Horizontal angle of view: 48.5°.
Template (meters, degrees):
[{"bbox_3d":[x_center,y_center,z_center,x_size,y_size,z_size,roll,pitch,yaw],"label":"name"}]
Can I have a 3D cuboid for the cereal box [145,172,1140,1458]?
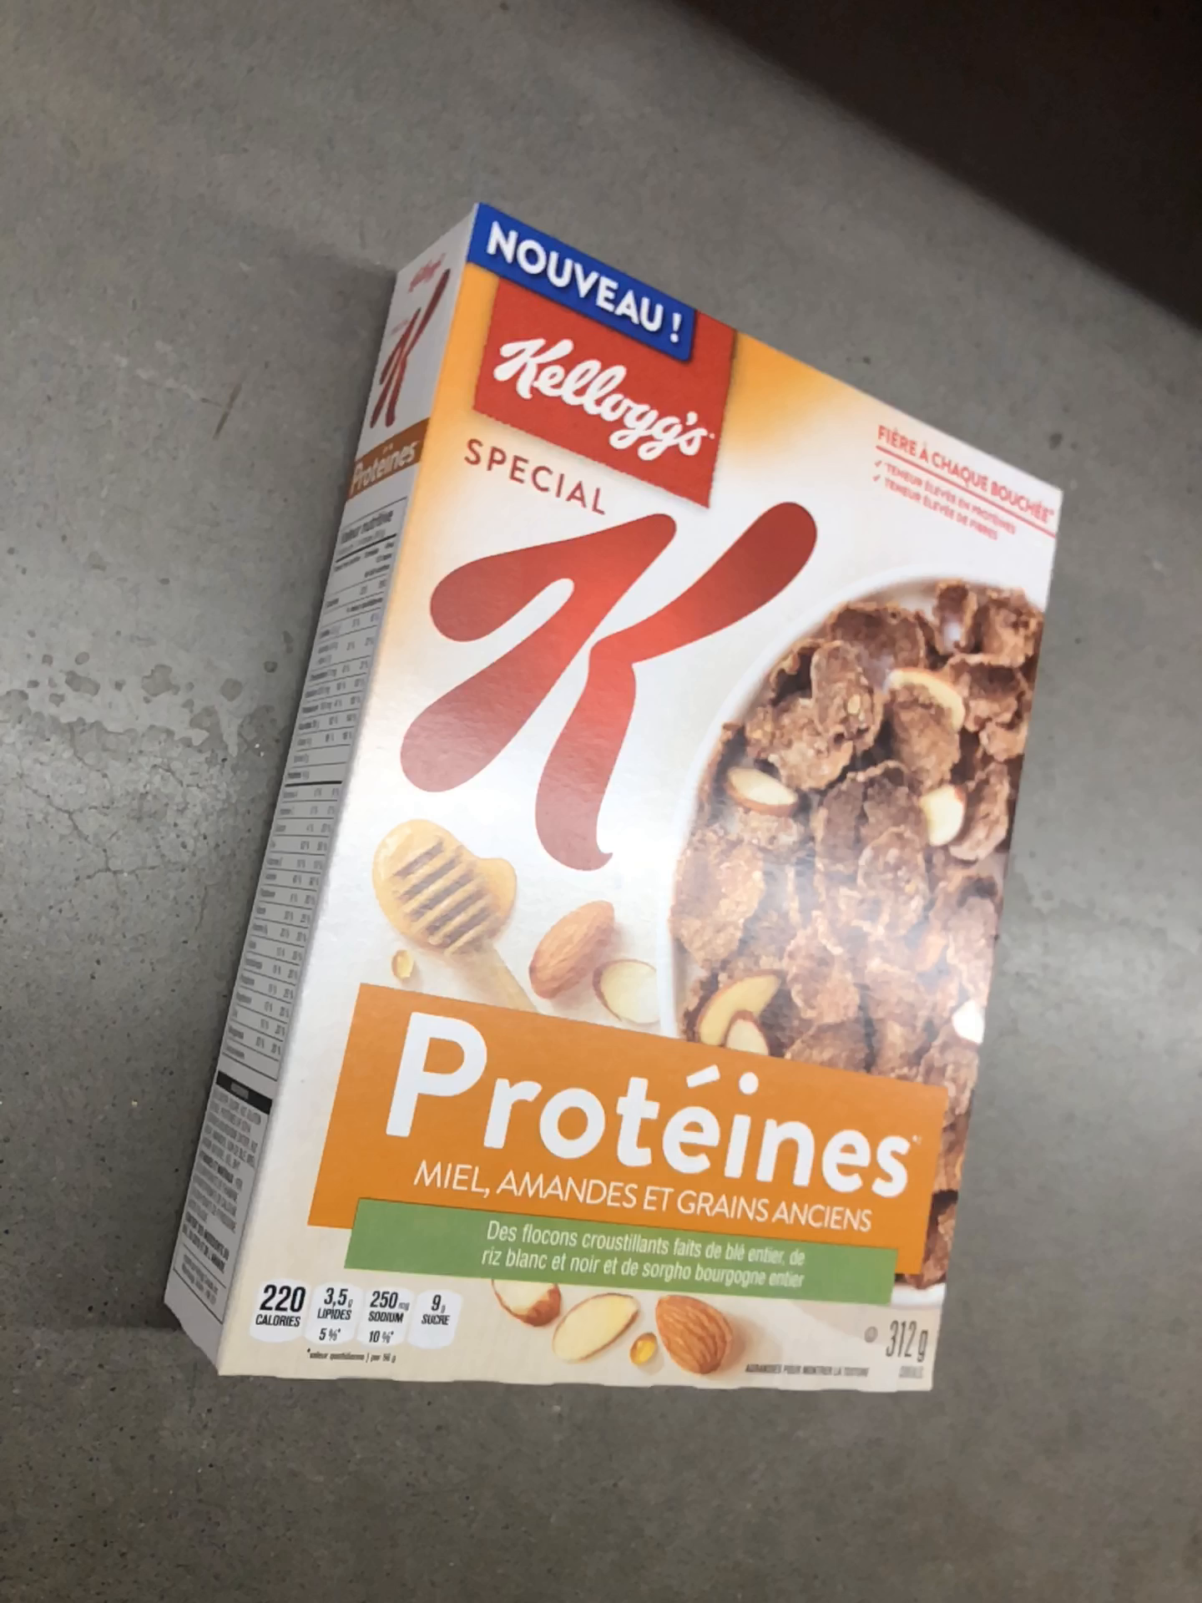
[{"bbox_3d":[0.025,0.018,0.322,0.200,0.050,0.250,14,83,-28],"label":"cereal box"}]
